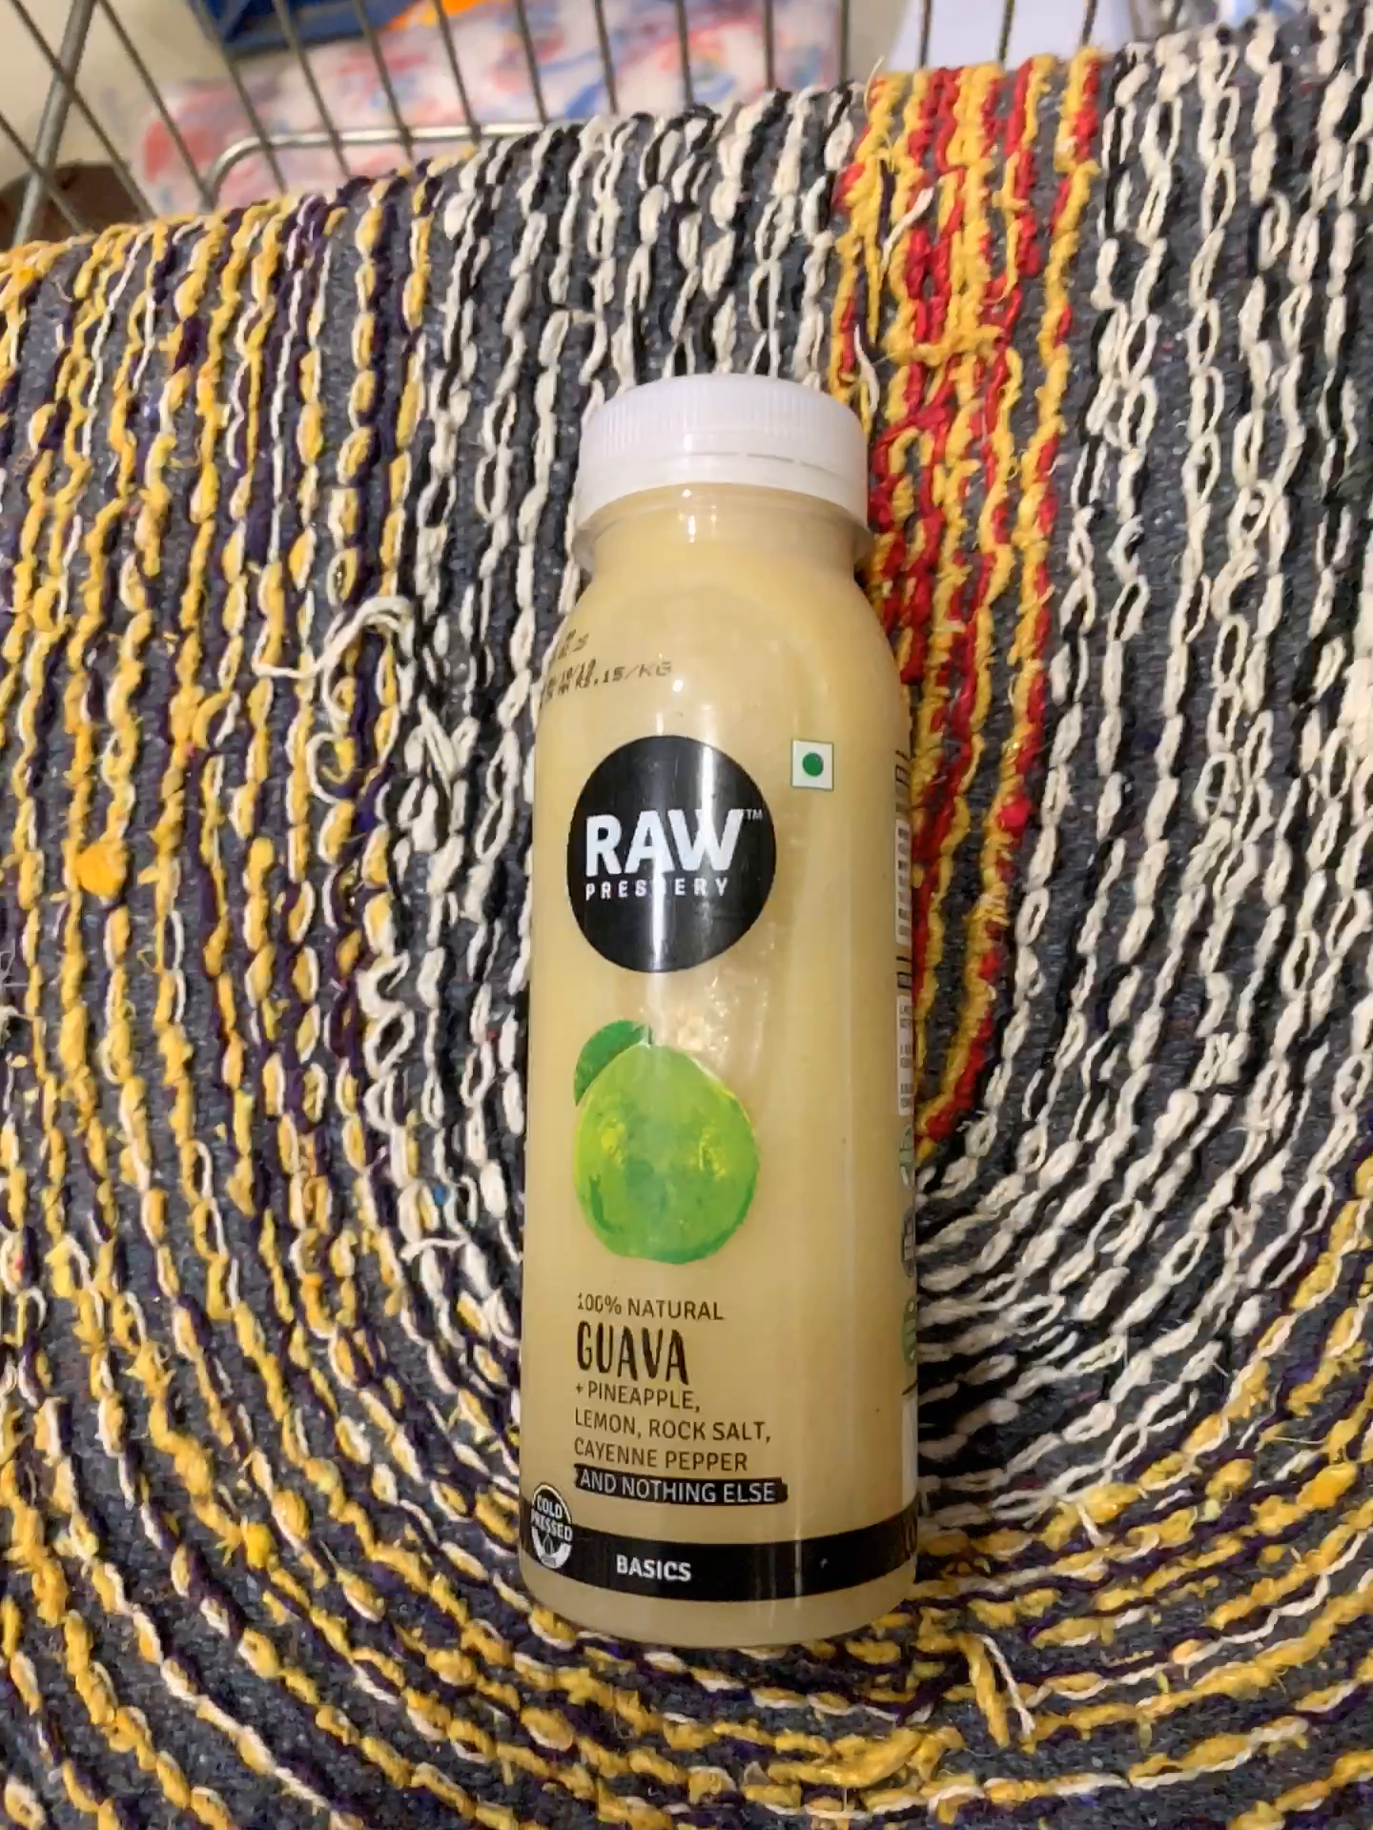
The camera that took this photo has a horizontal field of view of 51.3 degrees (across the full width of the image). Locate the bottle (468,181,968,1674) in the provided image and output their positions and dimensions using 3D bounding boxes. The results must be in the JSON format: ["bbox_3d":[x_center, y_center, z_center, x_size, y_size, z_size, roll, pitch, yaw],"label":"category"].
[{"bbox_3d":[0.007,-0.001,0.177,0.050,0.040,0.160,-2,81,15],"label":"bottle"}]
